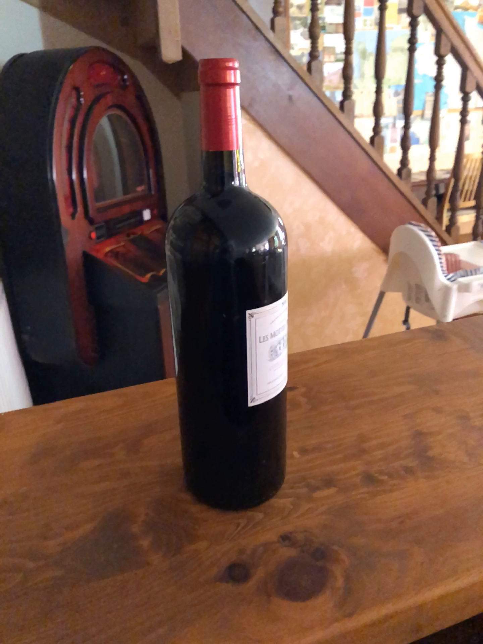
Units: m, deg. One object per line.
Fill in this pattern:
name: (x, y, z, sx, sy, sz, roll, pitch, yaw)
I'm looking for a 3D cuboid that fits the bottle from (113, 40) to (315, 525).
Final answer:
bottle: (-0.009, -0.023, 0.426, 0.100, 0.348, 0.101, -2, 22, 1)
